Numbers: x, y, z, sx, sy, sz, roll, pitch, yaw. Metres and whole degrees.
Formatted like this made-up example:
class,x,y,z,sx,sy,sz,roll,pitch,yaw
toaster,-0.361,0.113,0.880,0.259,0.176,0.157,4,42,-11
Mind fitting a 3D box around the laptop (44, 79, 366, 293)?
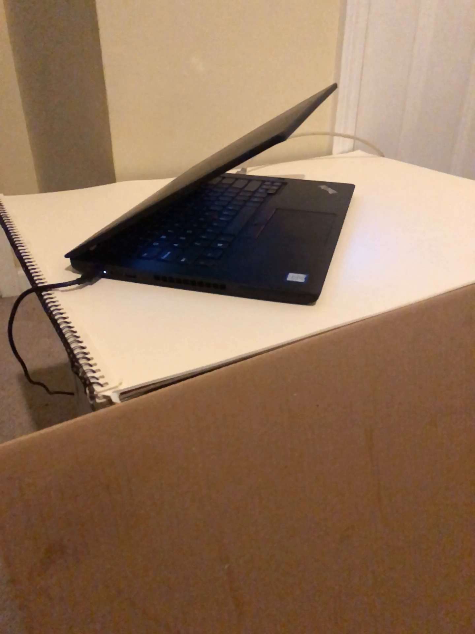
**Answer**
class,x,y,z,sx,sy,sz,roll,pitch,yaw
laptop,0.000,-0.163,0.542,0.227,0.115,0.319,8,31,14
